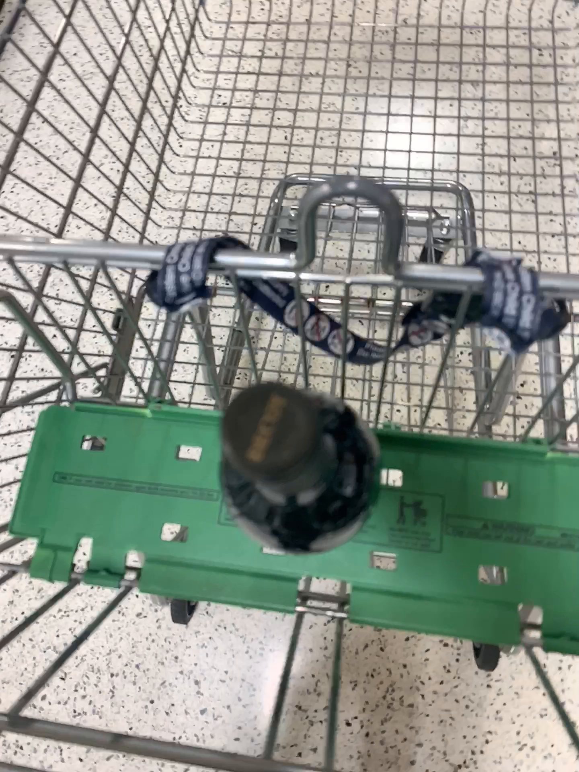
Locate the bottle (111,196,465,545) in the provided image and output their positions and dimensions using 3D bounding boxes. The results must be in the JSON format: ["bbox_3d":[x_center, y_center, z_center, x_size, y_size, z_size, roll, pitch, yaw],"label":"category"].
[{"bbox_3d":[0.010,0.032,0.303,0.090,0.299,0.090,-1,75,5],"label":"bottle"}]
